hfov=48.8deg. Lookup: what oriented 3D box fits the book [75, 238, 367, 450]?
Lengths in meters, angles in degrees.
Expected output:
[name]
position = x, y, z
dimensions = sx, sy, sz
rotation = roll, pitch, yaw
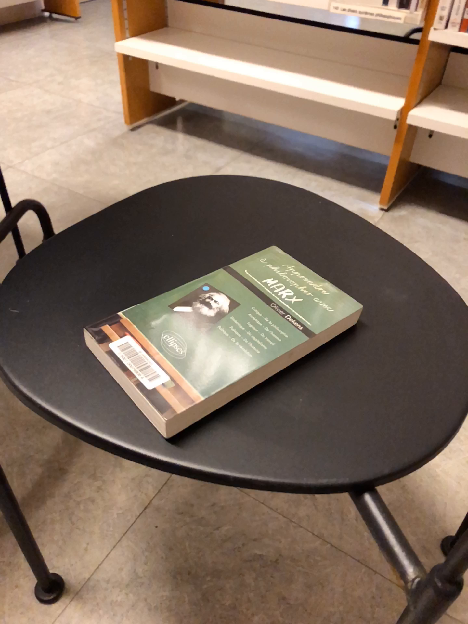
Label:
[book]
position = -0.007, 0.009, 0.374
dimensions = 0.177, 0.024, 0.110
rotation = -26, 48, -29
